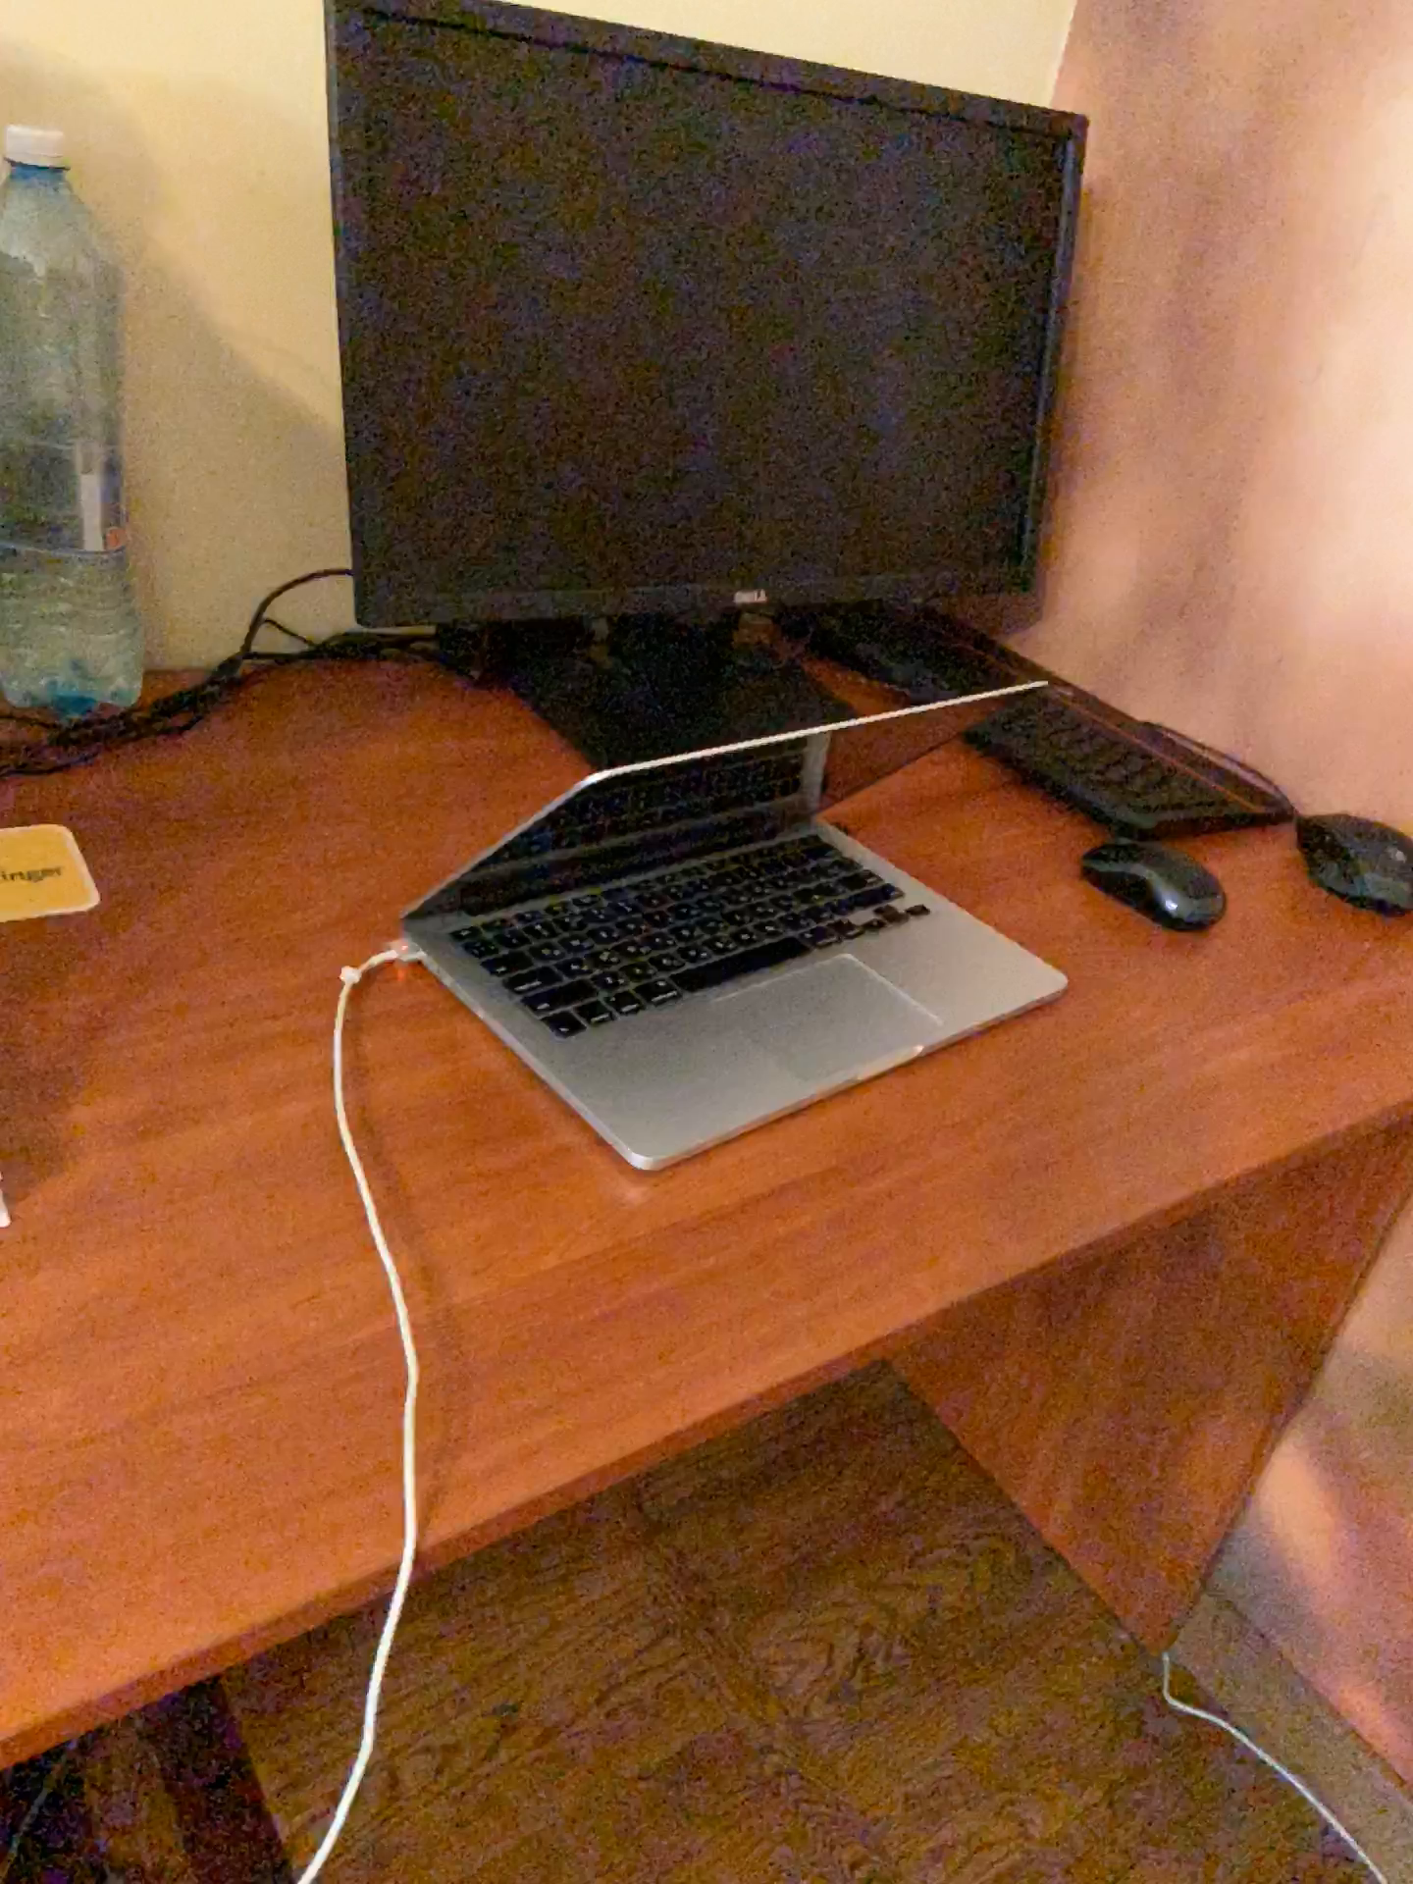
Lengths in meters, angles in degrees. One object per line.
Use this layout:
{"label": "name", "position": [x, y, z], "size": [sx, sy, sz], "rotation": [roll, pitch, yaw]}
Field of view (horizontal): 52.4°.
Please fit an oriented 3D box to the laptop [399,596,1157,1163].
{"label": "laptop", "position": [0.036, -0.055, 0.729], "size": [0.307, 0.148, 0.204], "rotation": [-17, 41, -38]}
